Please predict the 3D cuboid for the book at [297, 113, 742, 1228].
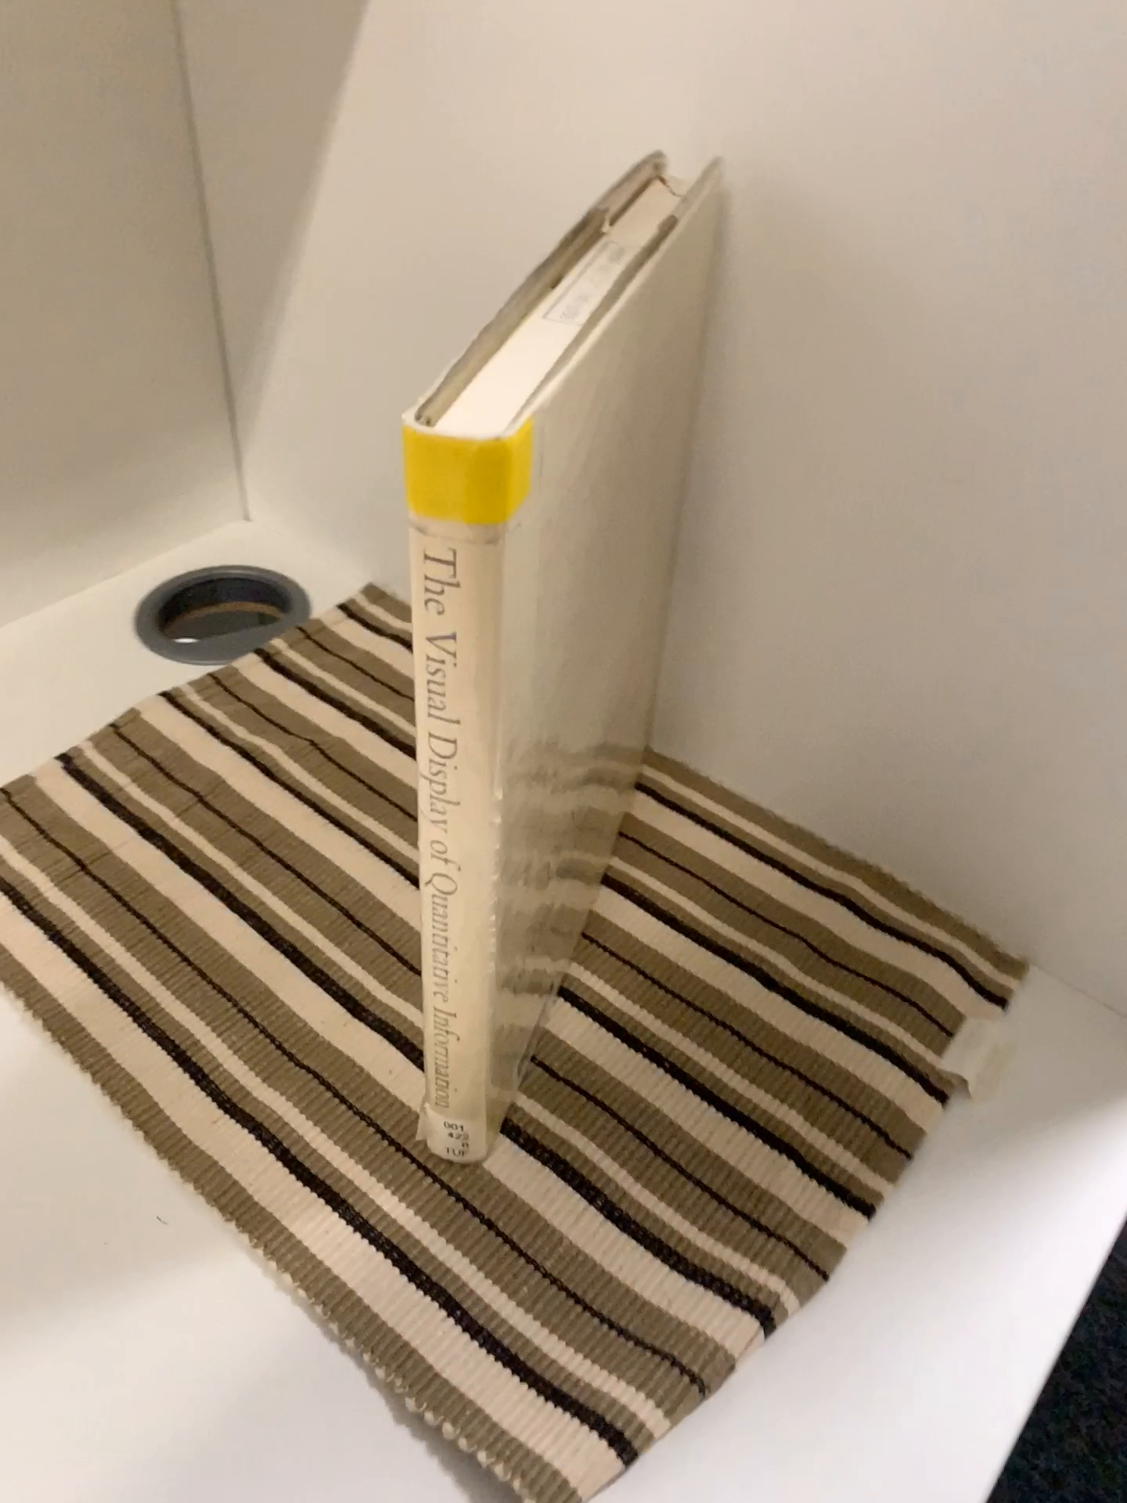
[{"bbox_3d":[-0.001,-0.029,0.397,0.040,0.287,0.252,13,42,11],"label":"book"}]
